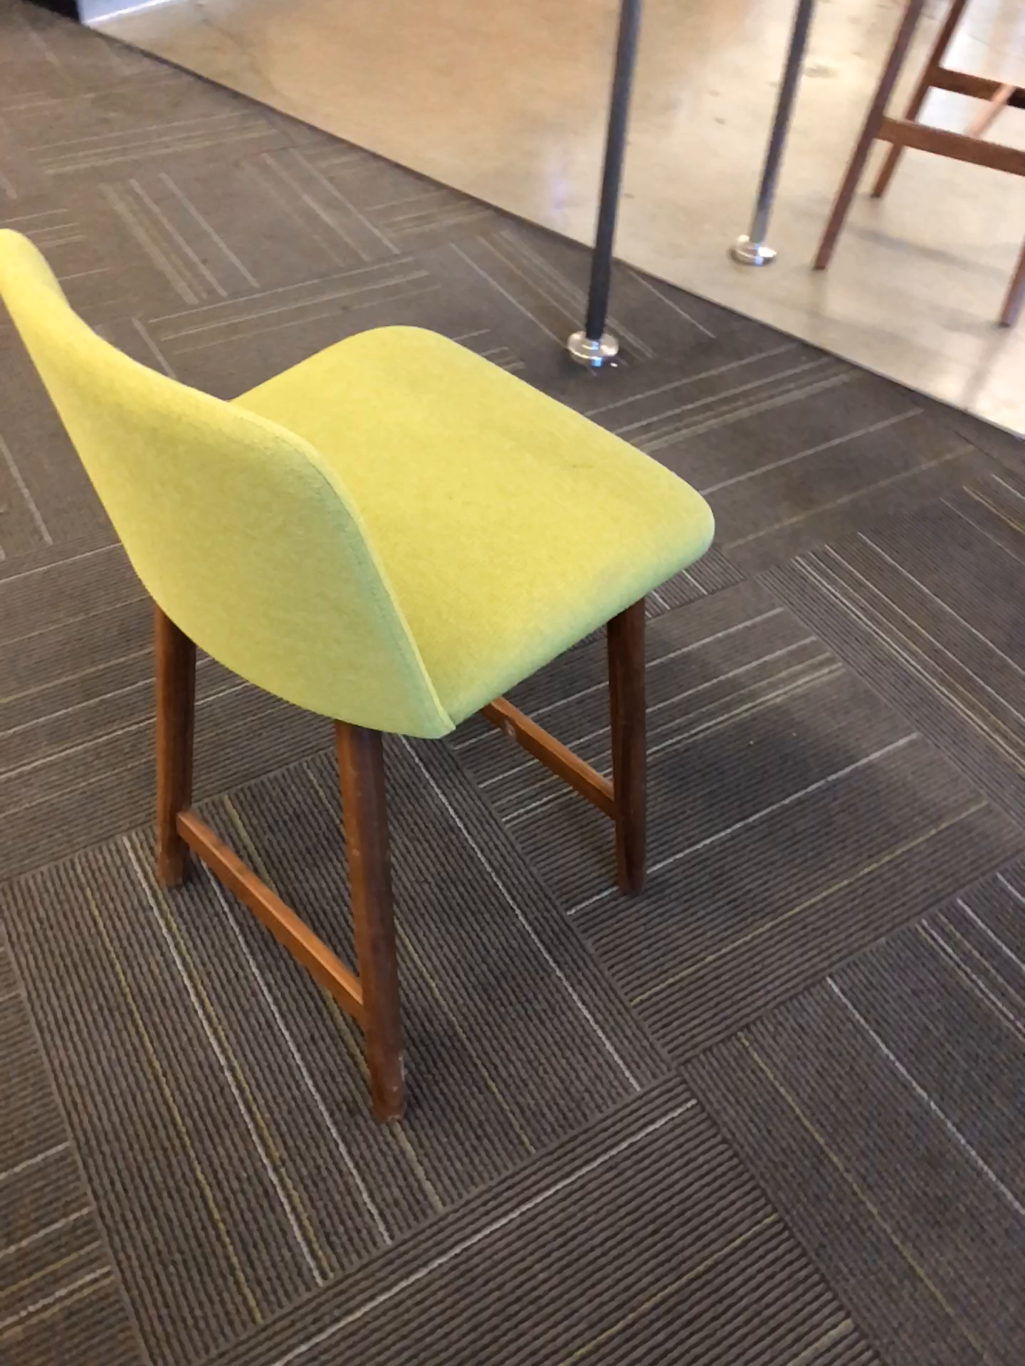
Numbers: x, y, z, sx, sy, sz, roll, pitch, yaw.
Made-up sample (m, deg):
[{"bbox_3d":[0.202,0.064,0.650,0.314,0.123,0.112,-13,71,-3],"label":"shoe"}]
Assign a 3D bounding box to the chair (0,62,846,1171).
[{"bbox_3d":[-0.116,-0.025,1.130,0.461,0.876,0.511,37,55,27],"label":"chair"}]
